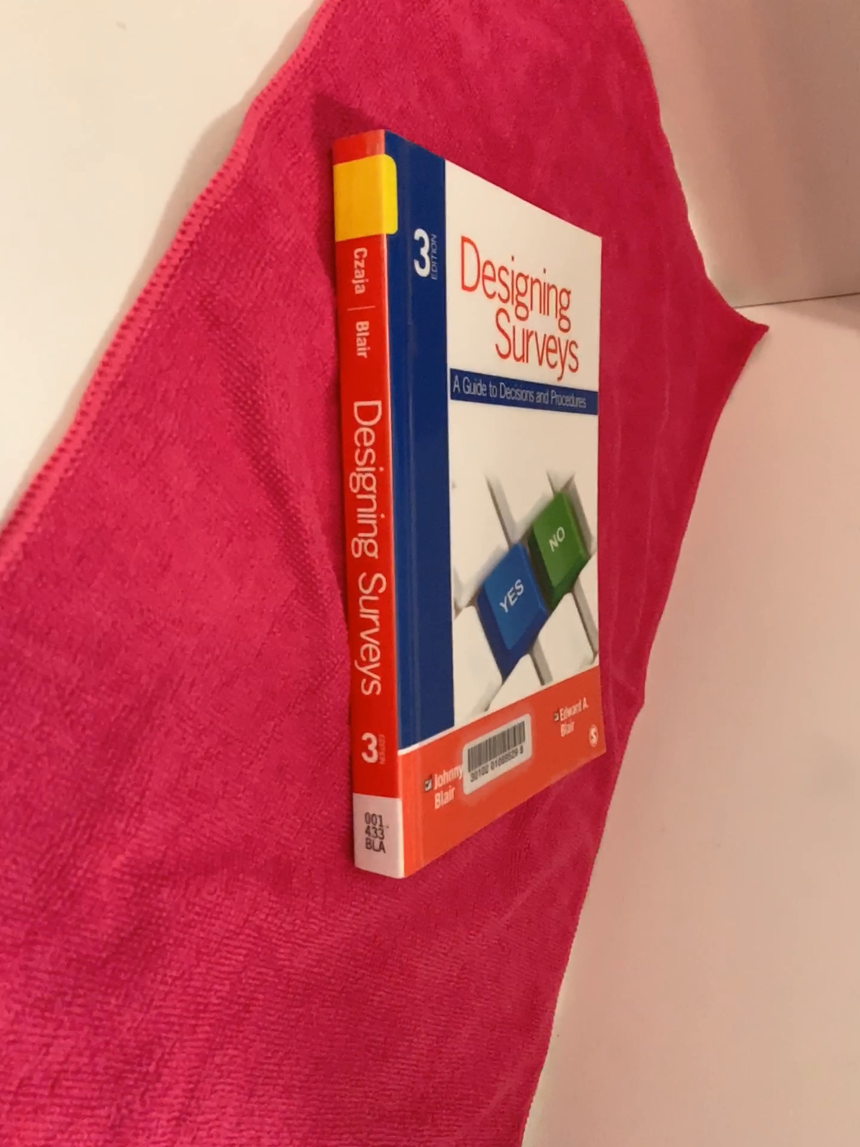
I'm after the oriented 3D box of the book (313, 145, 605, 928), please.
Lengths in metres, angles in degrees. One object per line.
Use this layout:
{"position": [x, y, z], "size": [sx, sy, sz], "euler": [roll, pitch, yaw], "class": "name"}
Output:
{"position": [0.022, -0.015, 0.333], "size": [0.161, 0.026, 0.230], "euler": [-12, 103, -56], "class": "book"}
